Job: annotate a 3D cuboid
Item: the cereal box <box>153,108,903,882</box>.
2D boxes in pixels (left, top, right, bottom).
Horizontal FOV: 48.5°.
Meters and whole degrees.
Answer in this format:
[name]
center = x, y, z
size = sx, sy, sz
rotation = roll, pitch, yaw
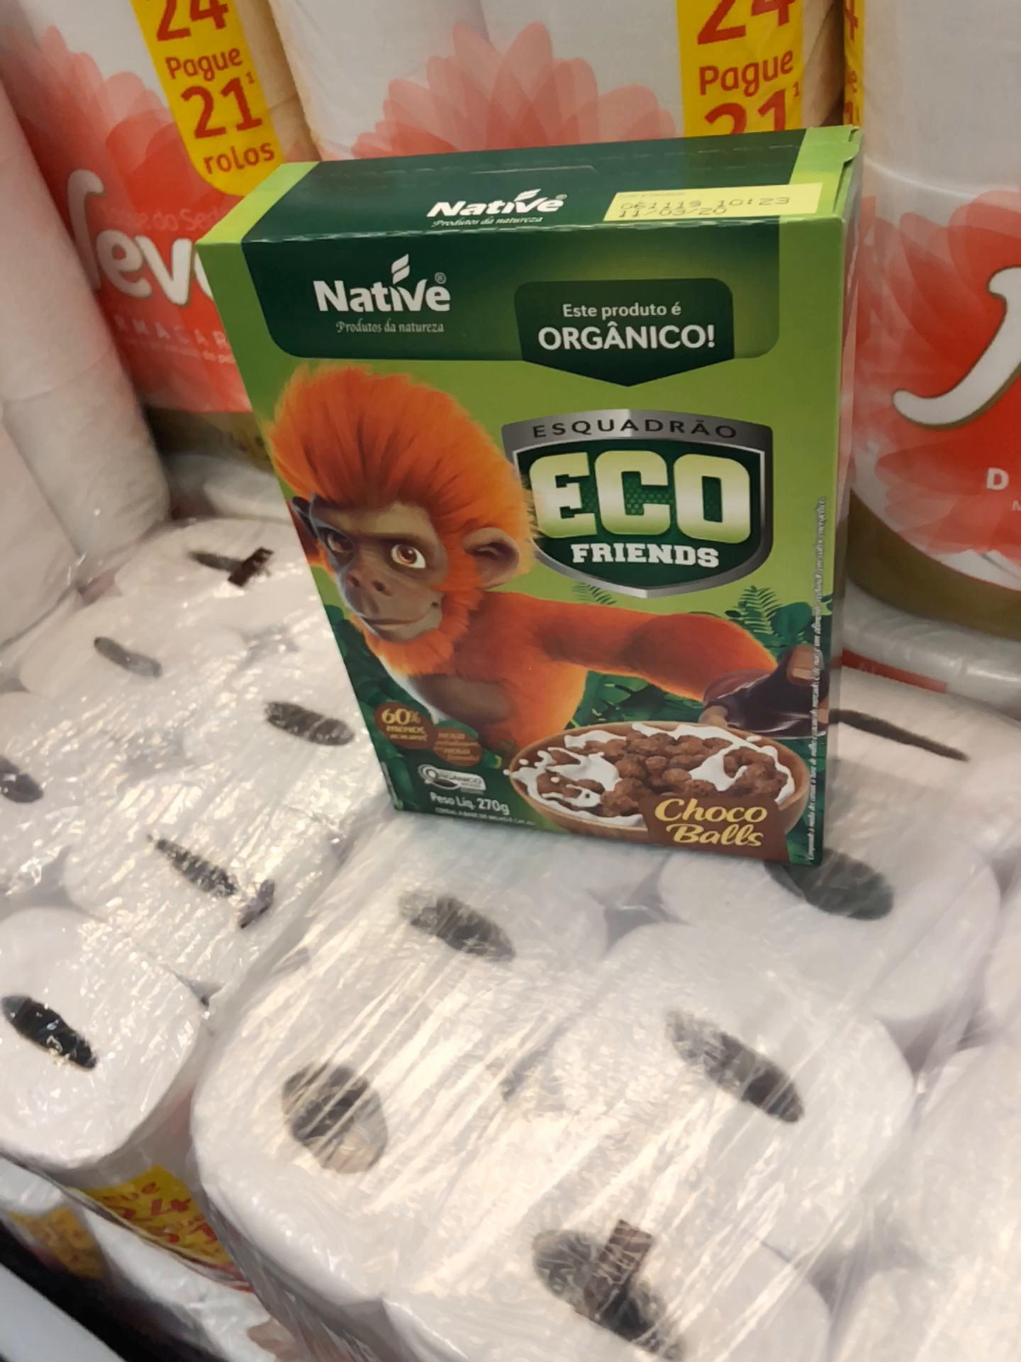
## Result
[cereal box]
center = 0.019, -0.045, 0.360
size = 0.180, 0.228, 0.060
rotation = 7, 45, 19
